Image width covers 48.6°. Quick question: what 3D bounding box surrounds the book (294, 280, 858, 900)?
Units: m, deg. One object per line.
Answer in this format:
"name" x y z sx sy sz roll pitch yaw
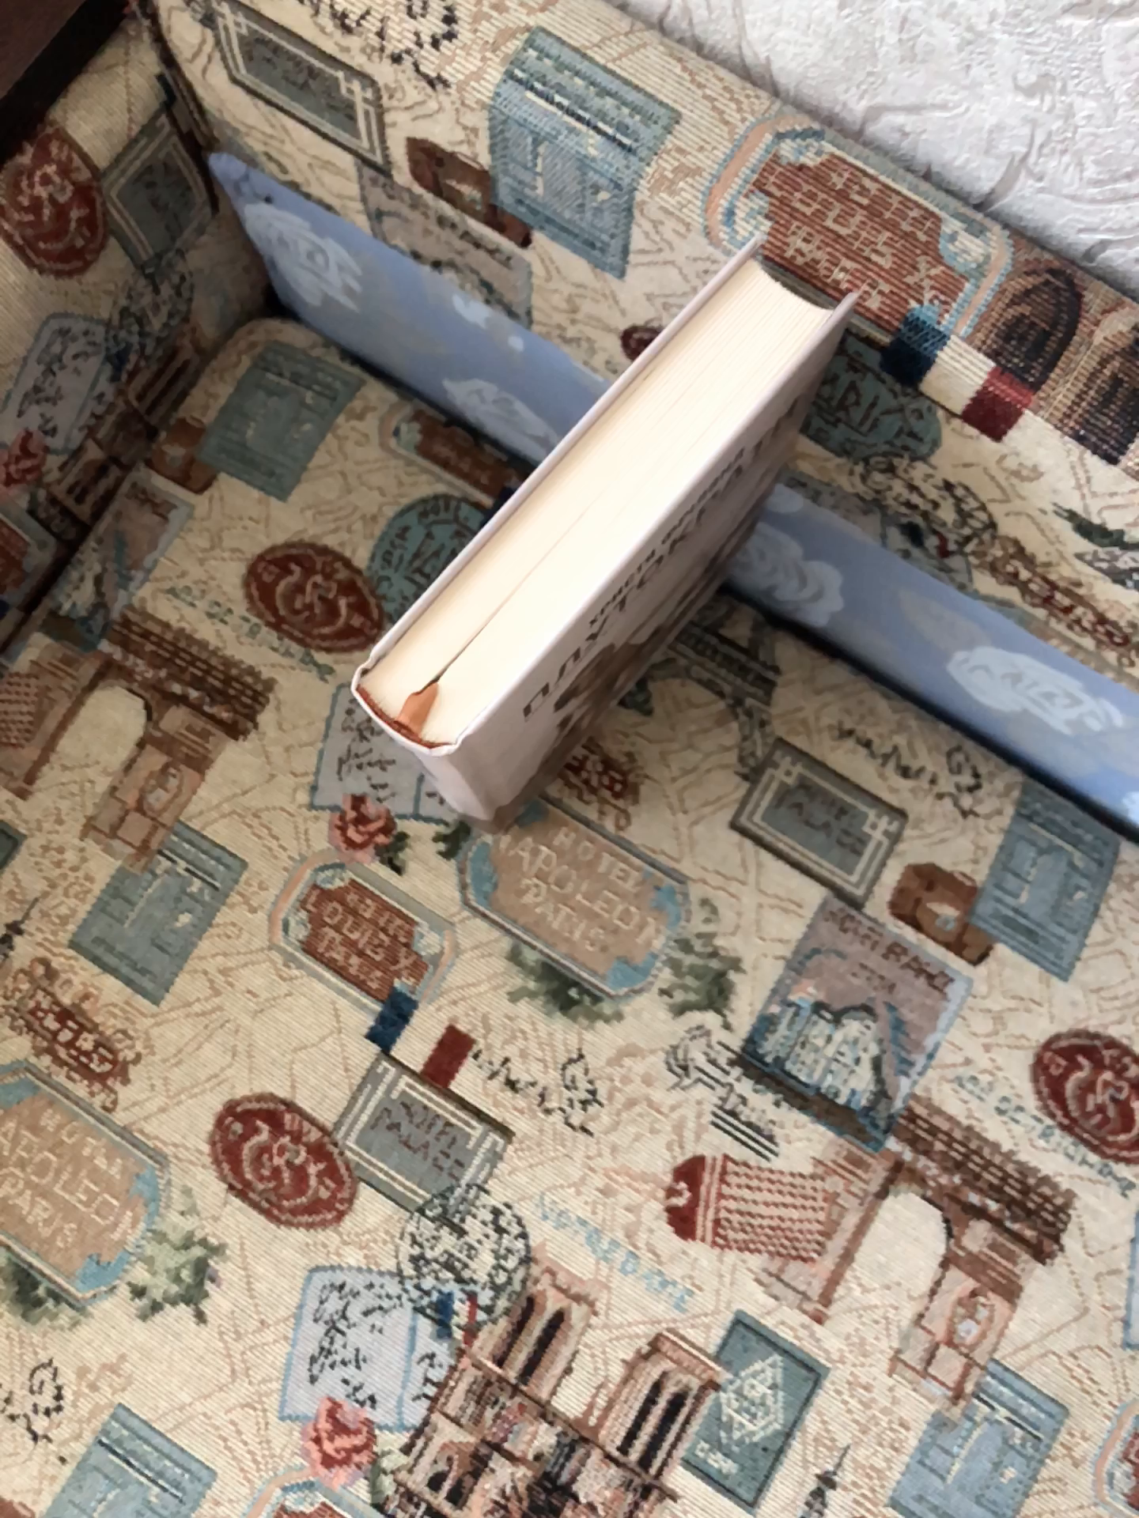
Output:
"book" 0.001 -0.033 0.425 0.040 0.220 0.170 41 83 4
